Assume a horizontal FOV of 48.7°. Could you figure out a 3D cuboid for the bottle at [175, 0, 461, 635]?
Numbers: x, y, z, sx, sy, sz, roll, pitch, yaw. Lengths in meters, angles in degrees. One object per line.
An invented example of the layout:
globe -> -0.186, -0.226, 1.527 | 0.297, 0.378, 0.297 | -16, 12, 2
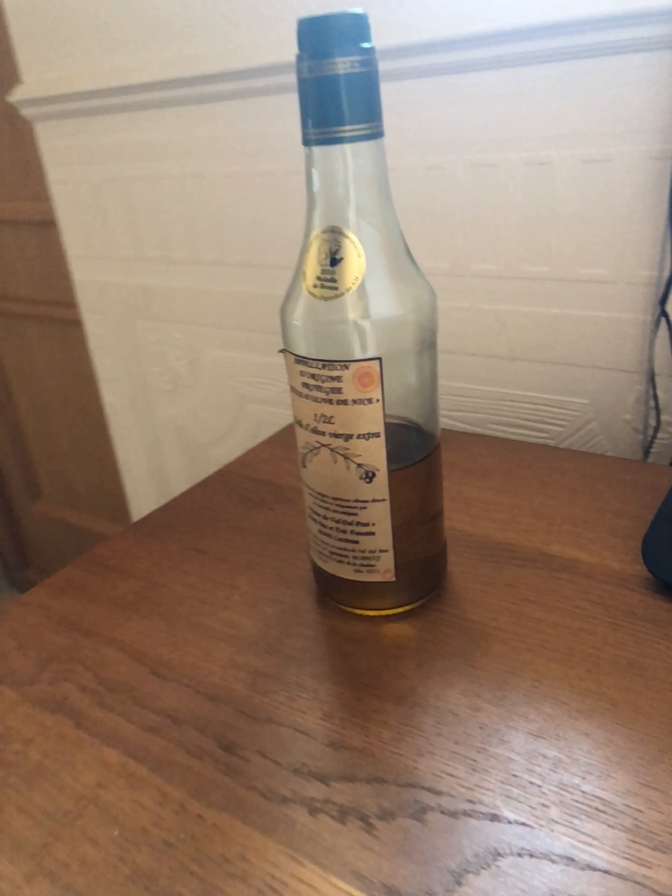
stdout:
bottle -> 0.004, -0.051, 0.344 | 0.070, 0.259, 0.080 | 11, 30, 33
